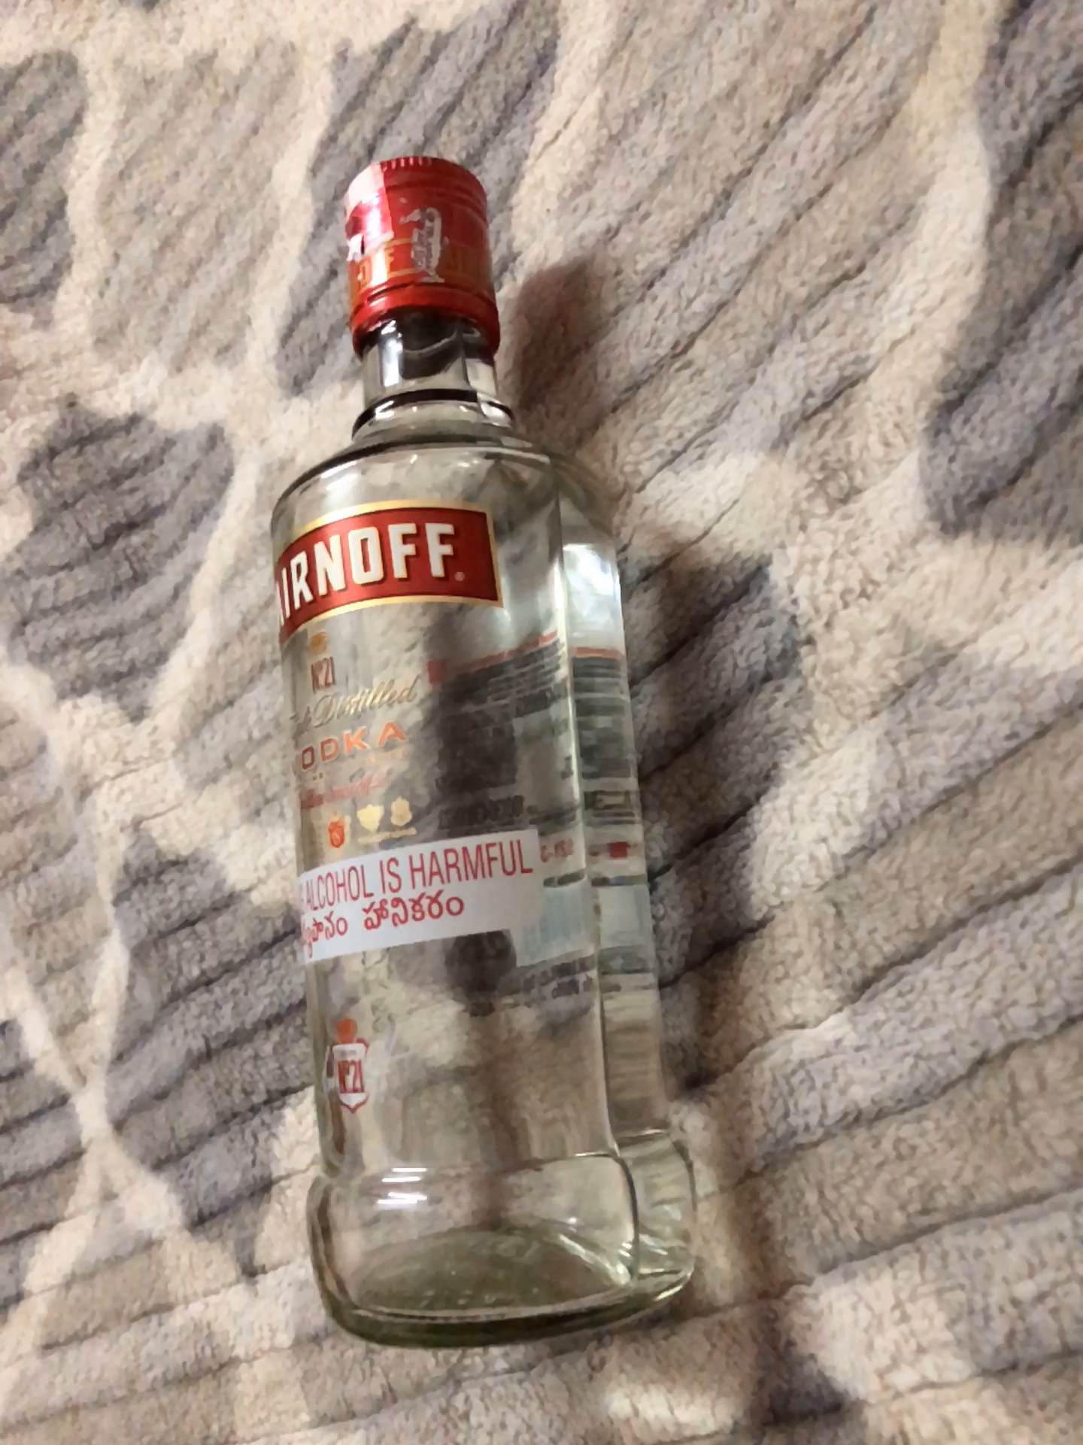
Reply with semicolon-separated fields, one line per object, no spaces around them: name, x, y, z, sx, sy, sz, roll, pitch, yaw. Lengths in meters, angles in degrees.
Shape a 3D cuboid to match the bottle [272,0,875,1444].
bottle;-0.001;-0.006;0.228;0.070;0.060;0.230;-17;72;39
